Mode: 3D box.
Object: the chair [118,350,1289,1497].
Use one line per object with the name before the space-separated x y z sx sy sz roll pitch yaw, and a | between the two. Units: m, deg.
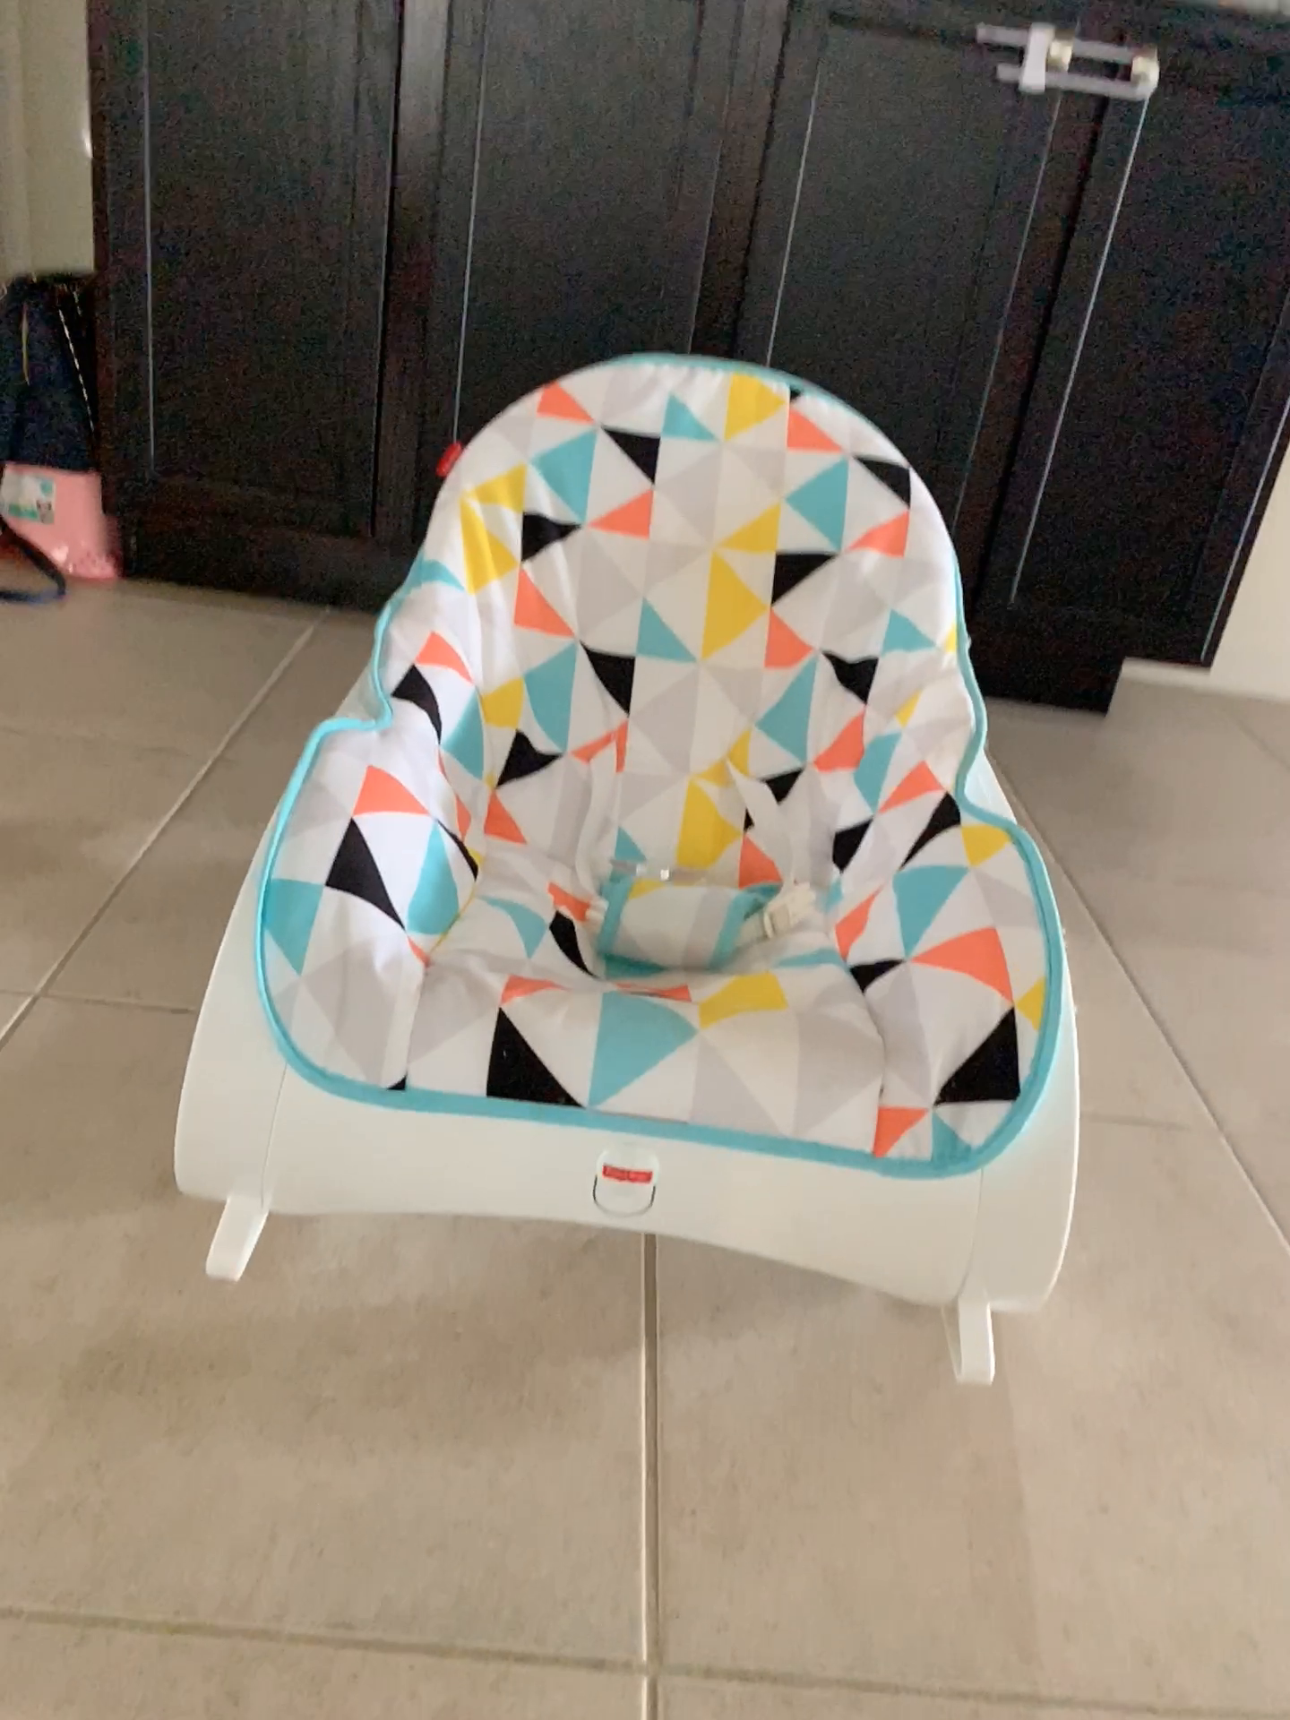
chair | 0.021 -0.044 0.984 0.530 0.485 0.737 8 27 -3
